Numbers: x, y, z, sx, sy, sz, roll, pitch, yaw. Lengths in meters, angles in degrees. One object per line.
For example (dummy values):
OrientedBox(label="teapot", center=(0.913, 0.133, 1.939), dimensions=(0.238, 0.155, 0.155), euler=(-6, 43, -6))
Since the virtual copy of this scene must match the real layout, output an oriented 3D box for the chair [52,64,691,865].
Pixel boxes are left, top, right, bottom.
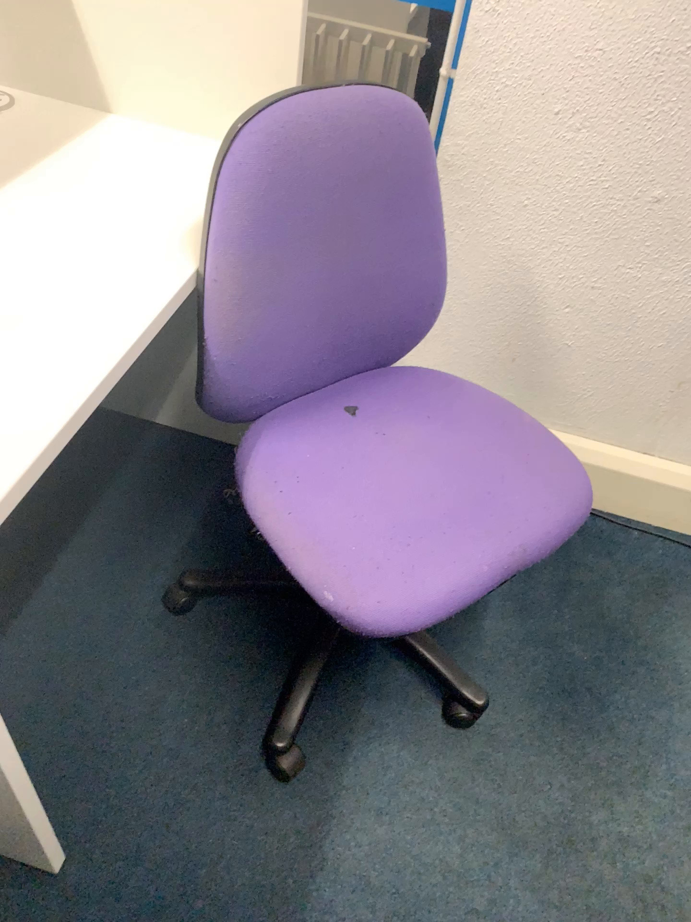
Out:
OrientedBox(label="chair", center=(0.077, -0.018, 1.104), dimensions=(0.693, 0.862, 0.654), euler=(-23, 53, -30))
